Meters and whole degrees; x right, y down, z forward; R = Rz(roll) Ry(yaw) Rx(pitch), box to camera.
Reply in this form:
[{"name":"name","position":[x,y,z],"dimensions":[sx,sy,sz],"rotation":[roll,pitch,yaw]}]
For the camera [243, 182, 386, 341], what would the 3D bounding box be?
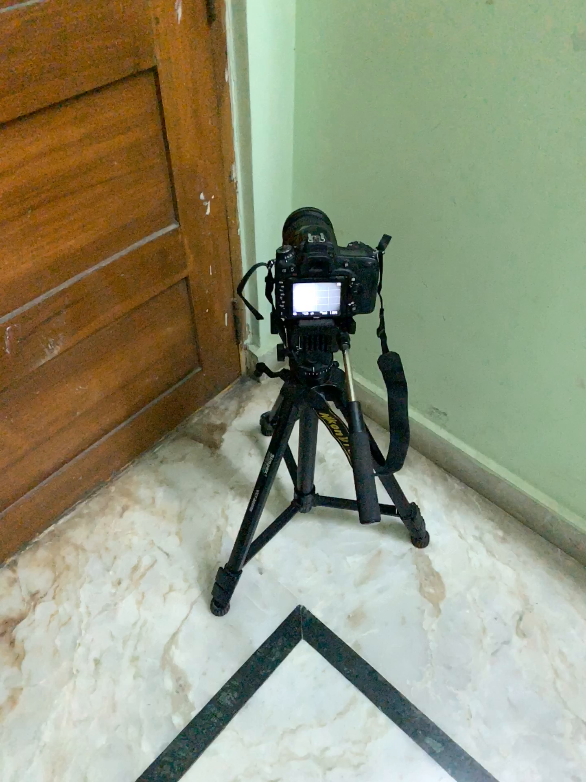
[{"name":"camera","position":[0.022,-0.189,0.860],"dimensions":[0.175,0.128,0.190],"rotation":[-4,49,-4]}]
